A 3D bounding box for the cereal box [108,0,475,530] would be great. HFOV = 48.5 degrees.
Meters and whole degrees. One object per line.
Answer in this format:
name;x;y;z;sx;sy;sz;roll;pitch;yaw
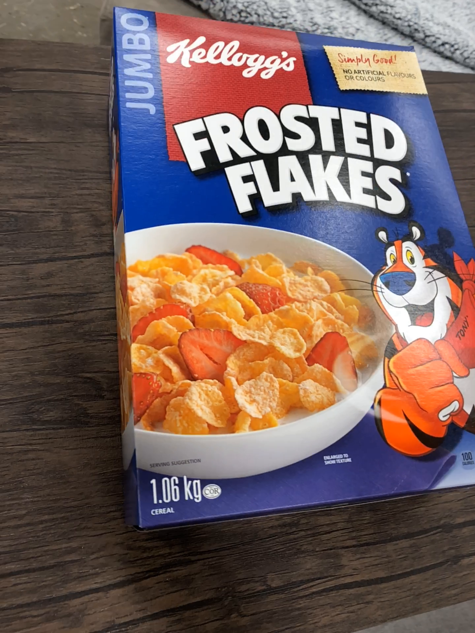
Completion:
cereal box;0.040;-0.059;0.383;0.250;0.100;0.370;-1;68;-15
